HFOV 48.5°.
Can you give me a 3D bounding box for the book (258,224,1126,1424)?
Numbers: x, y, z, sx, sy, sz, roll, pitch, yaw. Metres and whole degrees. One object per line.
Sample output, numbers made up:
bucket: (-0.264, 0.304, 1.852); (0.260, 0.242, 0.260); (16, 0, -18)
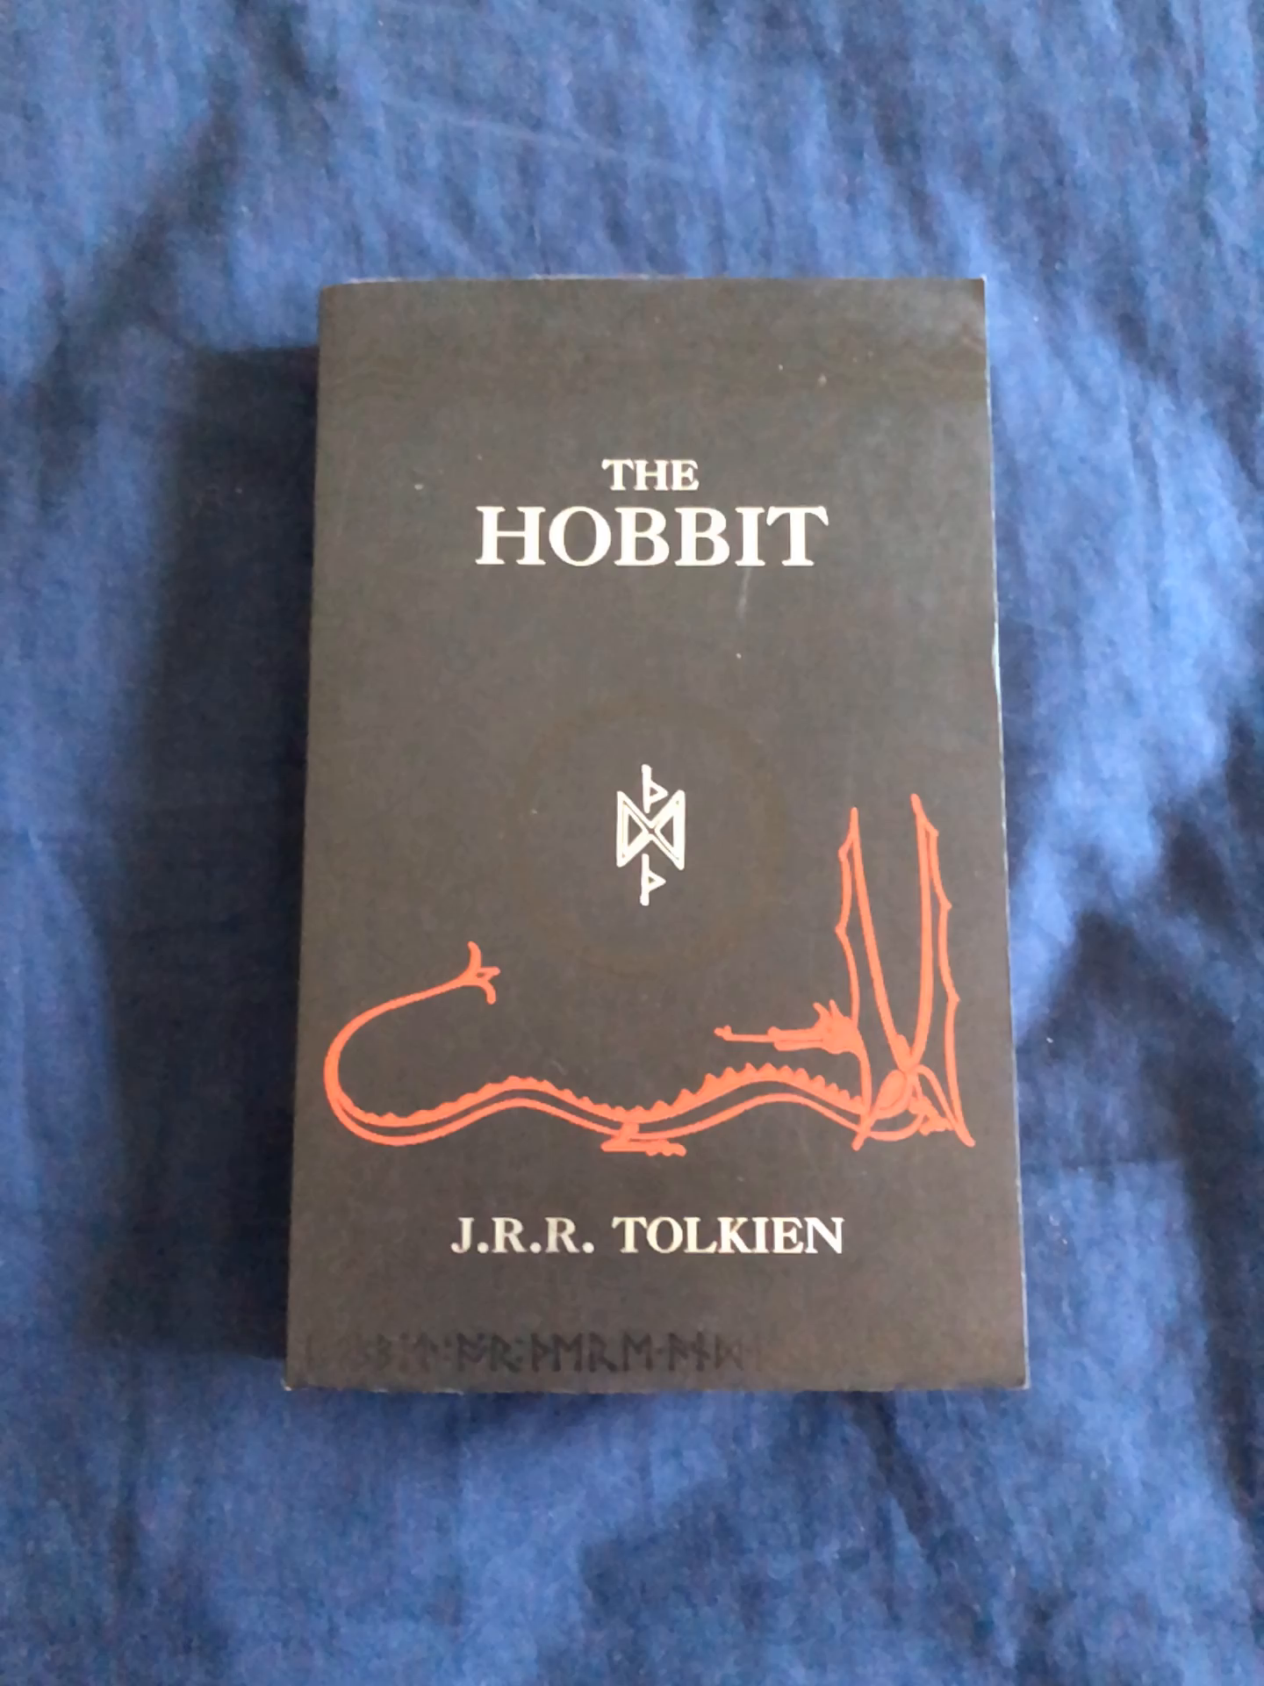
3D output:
book: (0.008, -0.006, 0.228); (0.120, 0.040, 0.180); (0, 81, -1)
